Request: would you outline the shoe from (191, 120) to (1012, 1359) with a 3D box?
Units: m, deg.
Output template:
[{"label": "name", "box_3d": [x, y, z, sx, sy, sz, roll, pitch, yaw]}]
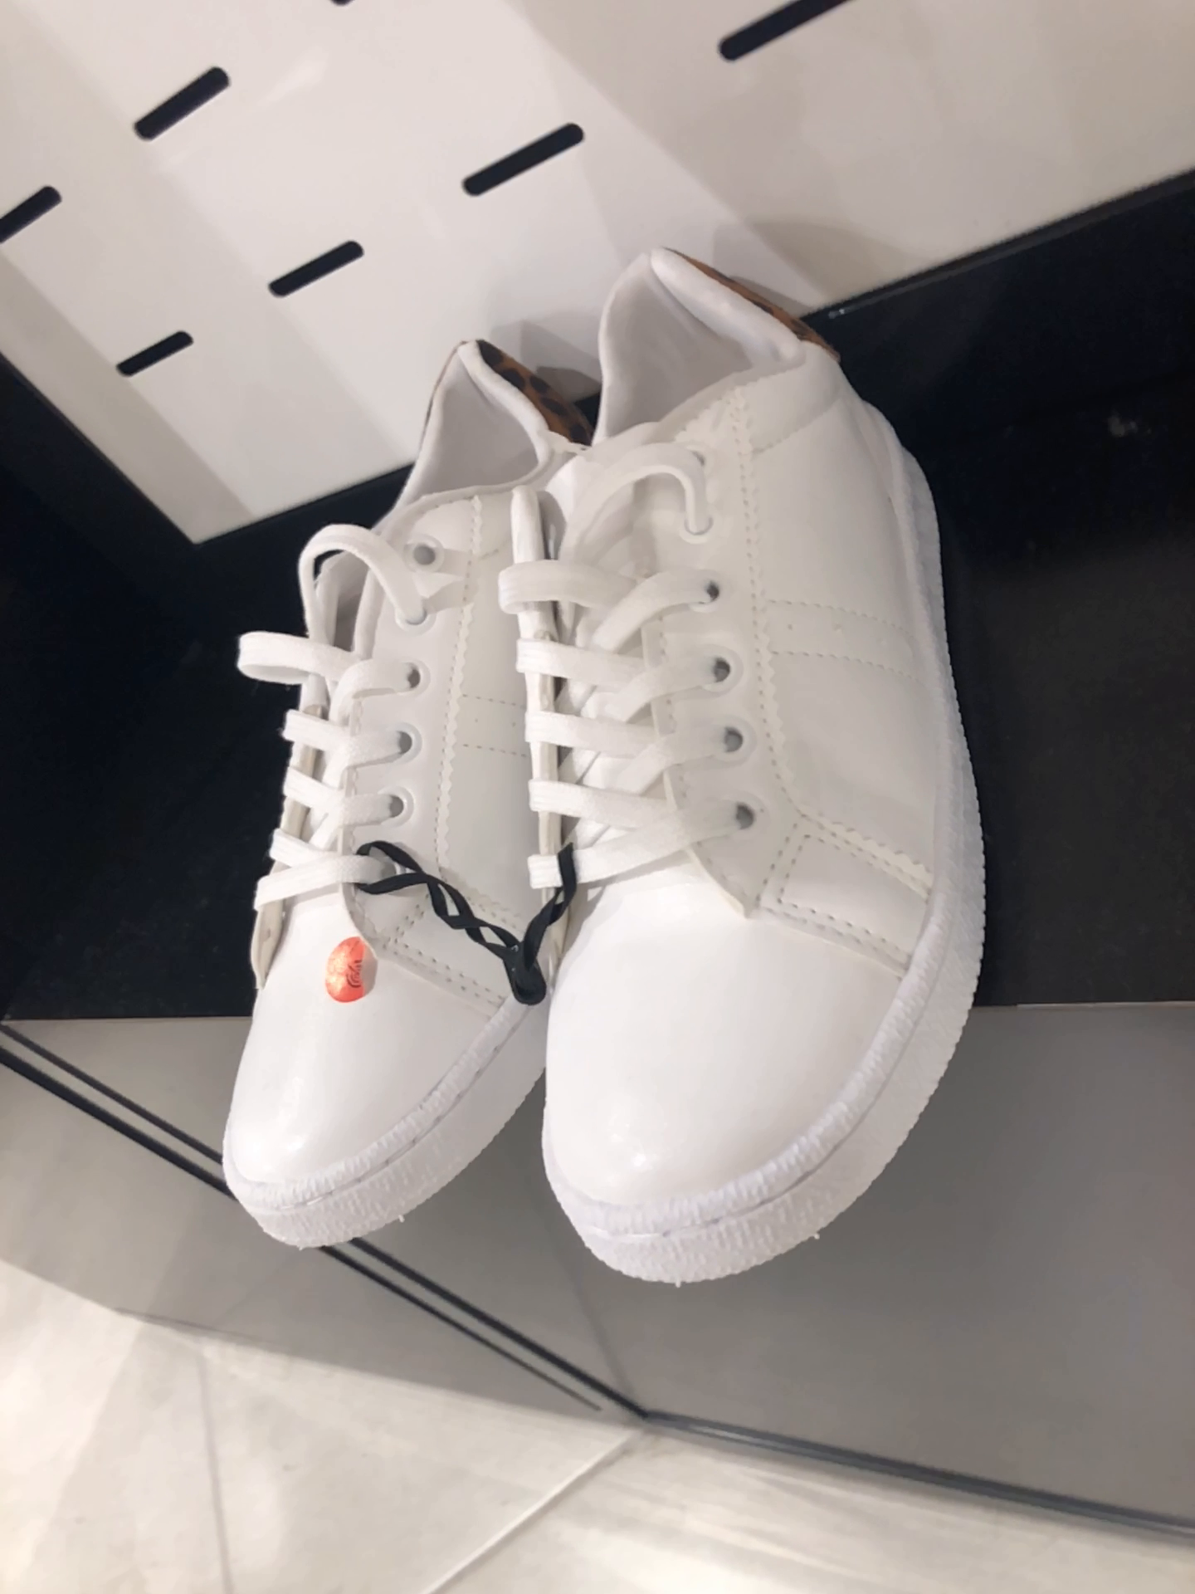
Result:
[{"label": "shoe", "box_3d": [0.018, -0.015, 0.271, 0.090, 0.099, 0.221, -15, 48, 32]}]

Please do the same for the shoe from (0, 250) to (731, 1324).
[{"label": "shoe", "box_3d": [-0.049, -0.006, 0.319, 0.090, 0.099, 0.221, -11, 51, 36]}]
